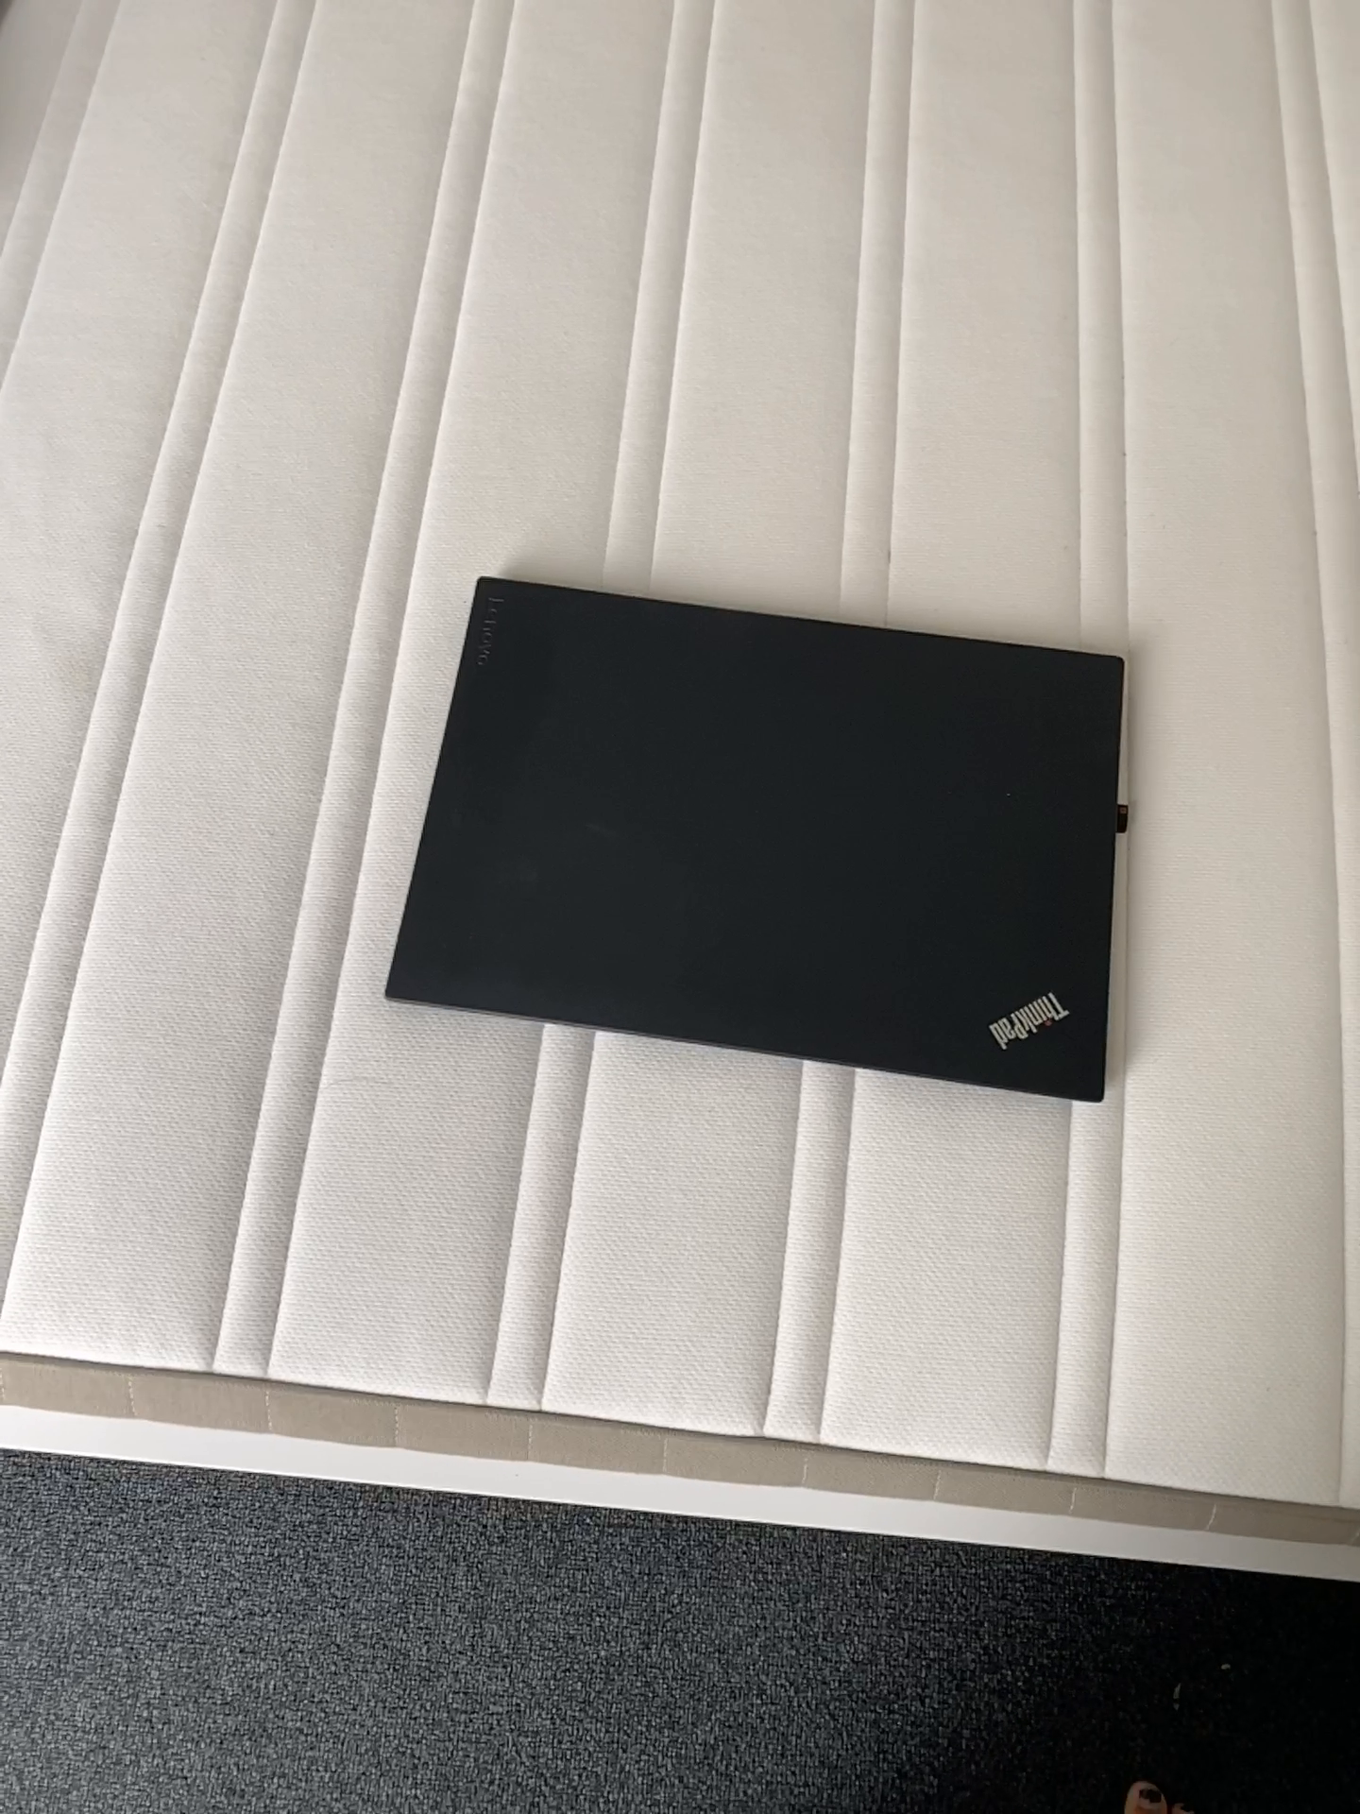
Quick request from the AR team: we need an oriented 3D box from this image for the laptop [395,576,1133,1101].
[{"bbox_3d":[0.042,-0.035,0.586,0.288,0.005,0.193,8,73,2],"label":"laptop"}]
